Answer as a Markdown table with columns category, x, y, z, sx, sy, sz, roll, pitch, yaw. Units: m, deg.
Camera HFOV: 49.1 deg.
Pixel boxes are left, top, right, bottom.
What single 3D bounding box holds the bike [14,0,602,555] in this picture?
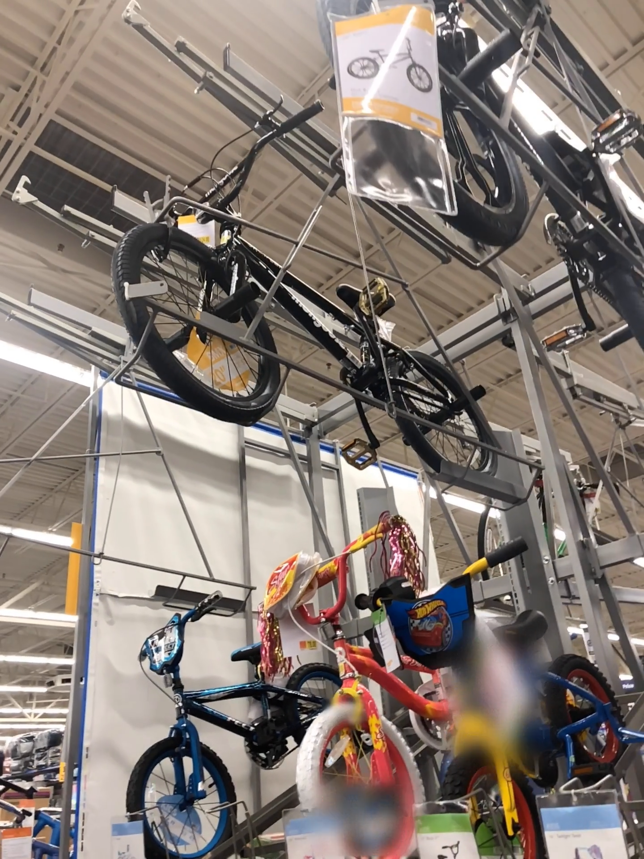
| category | x | y | z | sx | sy | sz | roll | pitch | yaw |
| --- | --- | --- | --- | --- | --- | --- | --- | --- | --- |
| bike | 0.002 | -0.280 | 2.004 | 1.349 | 0.909 | 0.752 | 19 | -36 | -39 |
